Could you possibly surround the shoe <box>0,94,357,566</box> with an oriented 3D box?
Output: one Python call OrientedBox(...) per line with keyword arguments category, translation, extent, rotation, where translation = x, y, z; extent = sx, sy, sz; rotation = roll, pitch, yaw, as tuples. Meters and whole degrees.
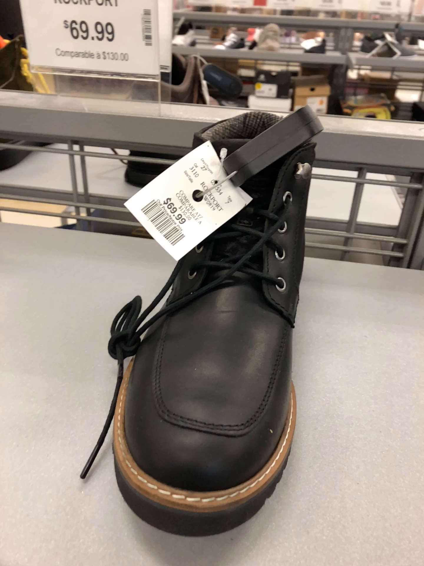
OrientedBox(category="shoe", translation=(0.005, -0.010, 0.302), extent=(0.120, 0.139, 0.282), rotation=(7, 36, 6))
